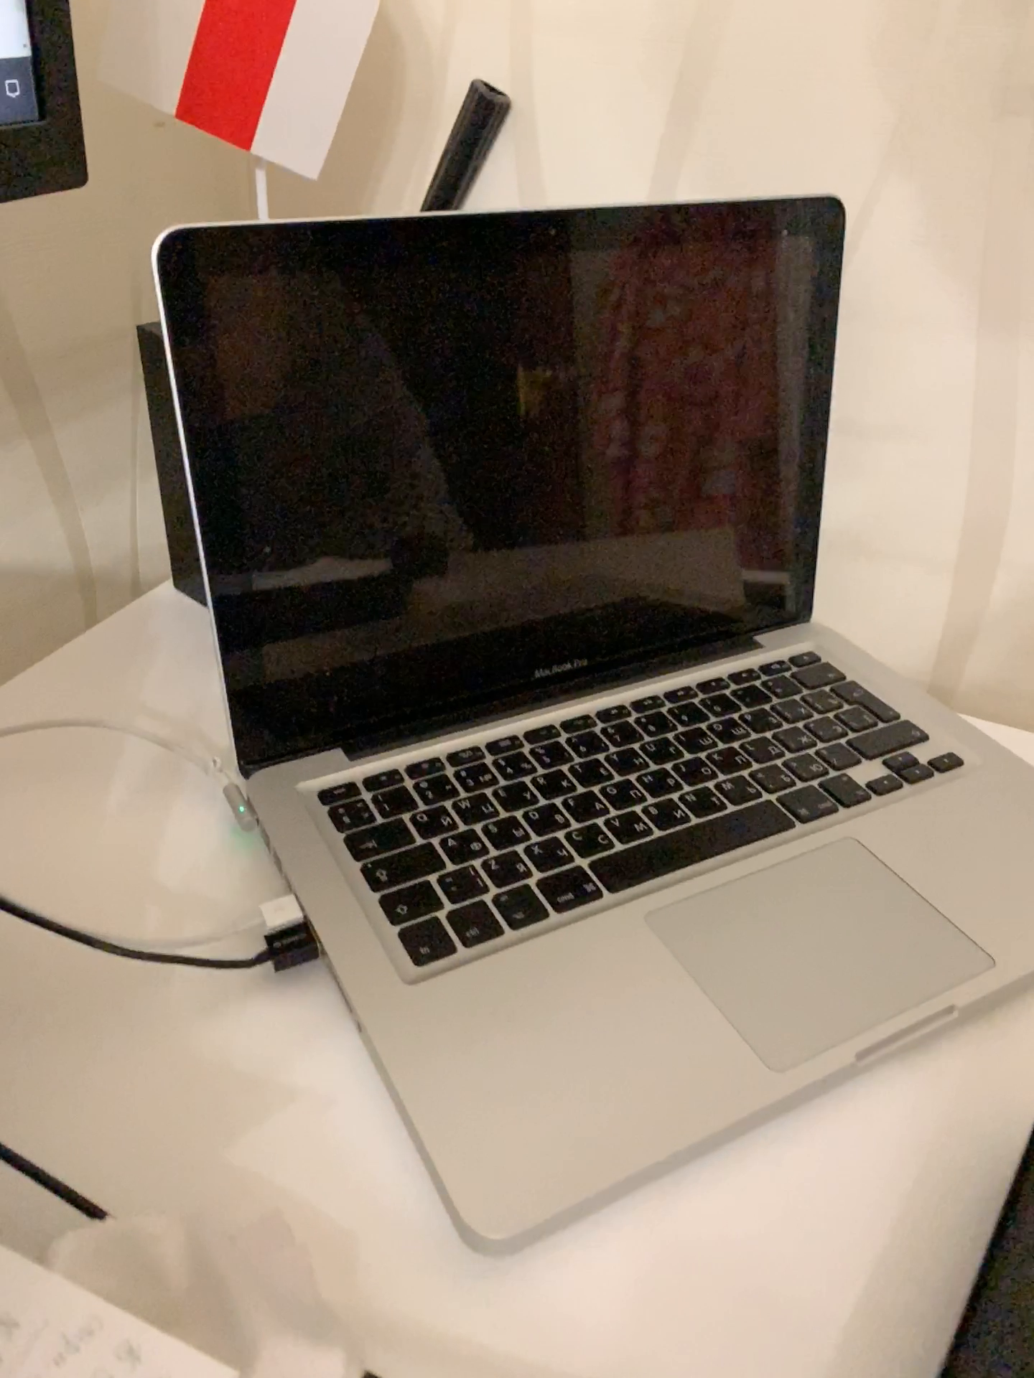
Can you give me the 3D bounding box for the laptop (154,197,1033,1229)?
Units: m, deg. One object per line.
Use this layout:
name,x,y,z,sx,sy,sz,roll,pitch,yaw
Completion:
laptop,0.066,-0.041,0.383,0.301,0.196,0.250,-15,38,-26
